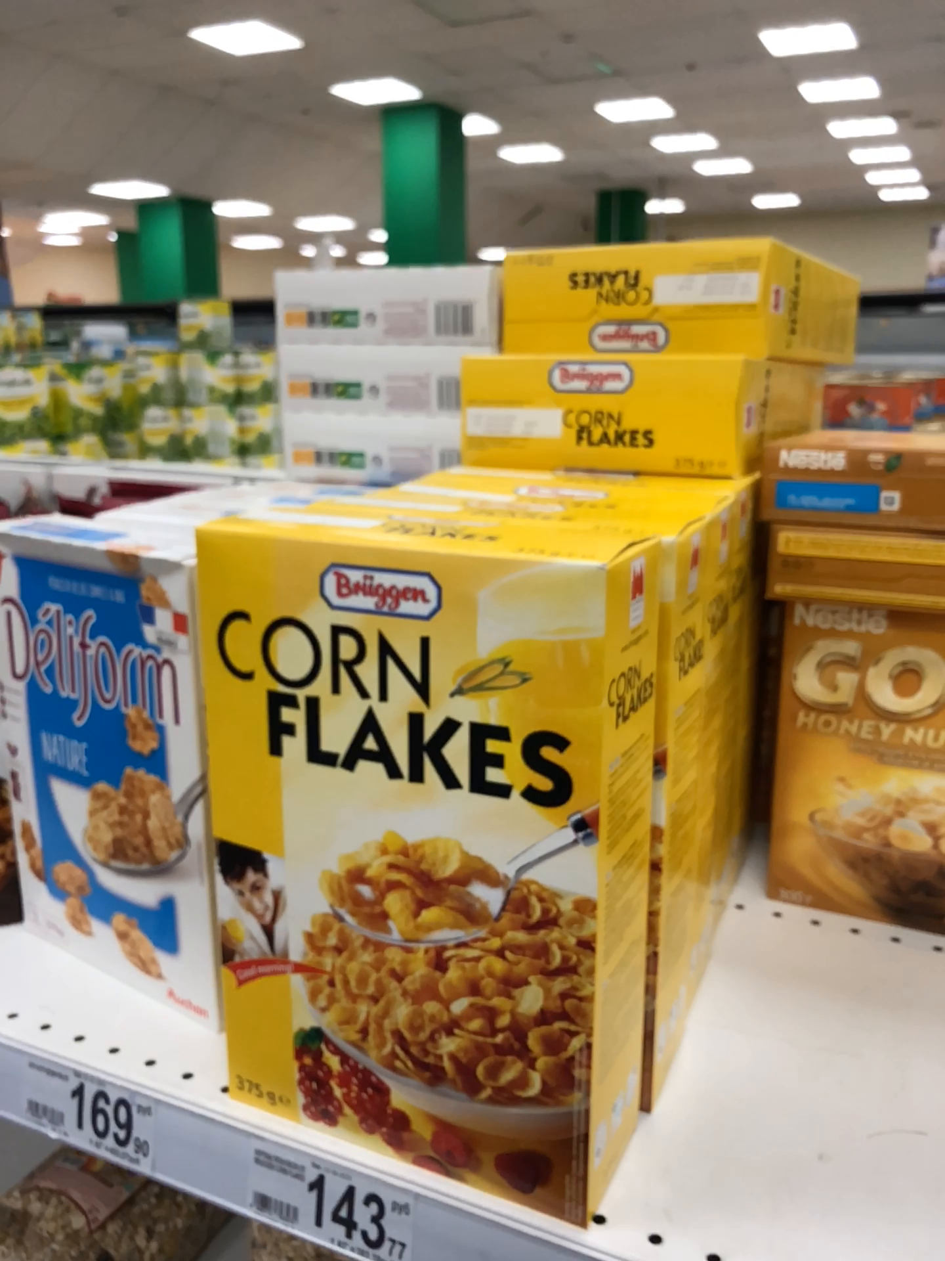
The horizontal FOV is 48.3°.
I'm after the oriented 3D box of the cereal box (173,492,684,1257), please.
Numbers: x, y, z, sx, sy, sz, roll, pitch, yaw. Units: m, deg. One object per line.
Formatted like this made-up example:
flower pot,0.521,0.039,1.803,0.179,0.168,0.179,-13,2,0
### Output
cereal box,-0.019,0.097,0.480,0.200,0.299,0.080,7,16,24
